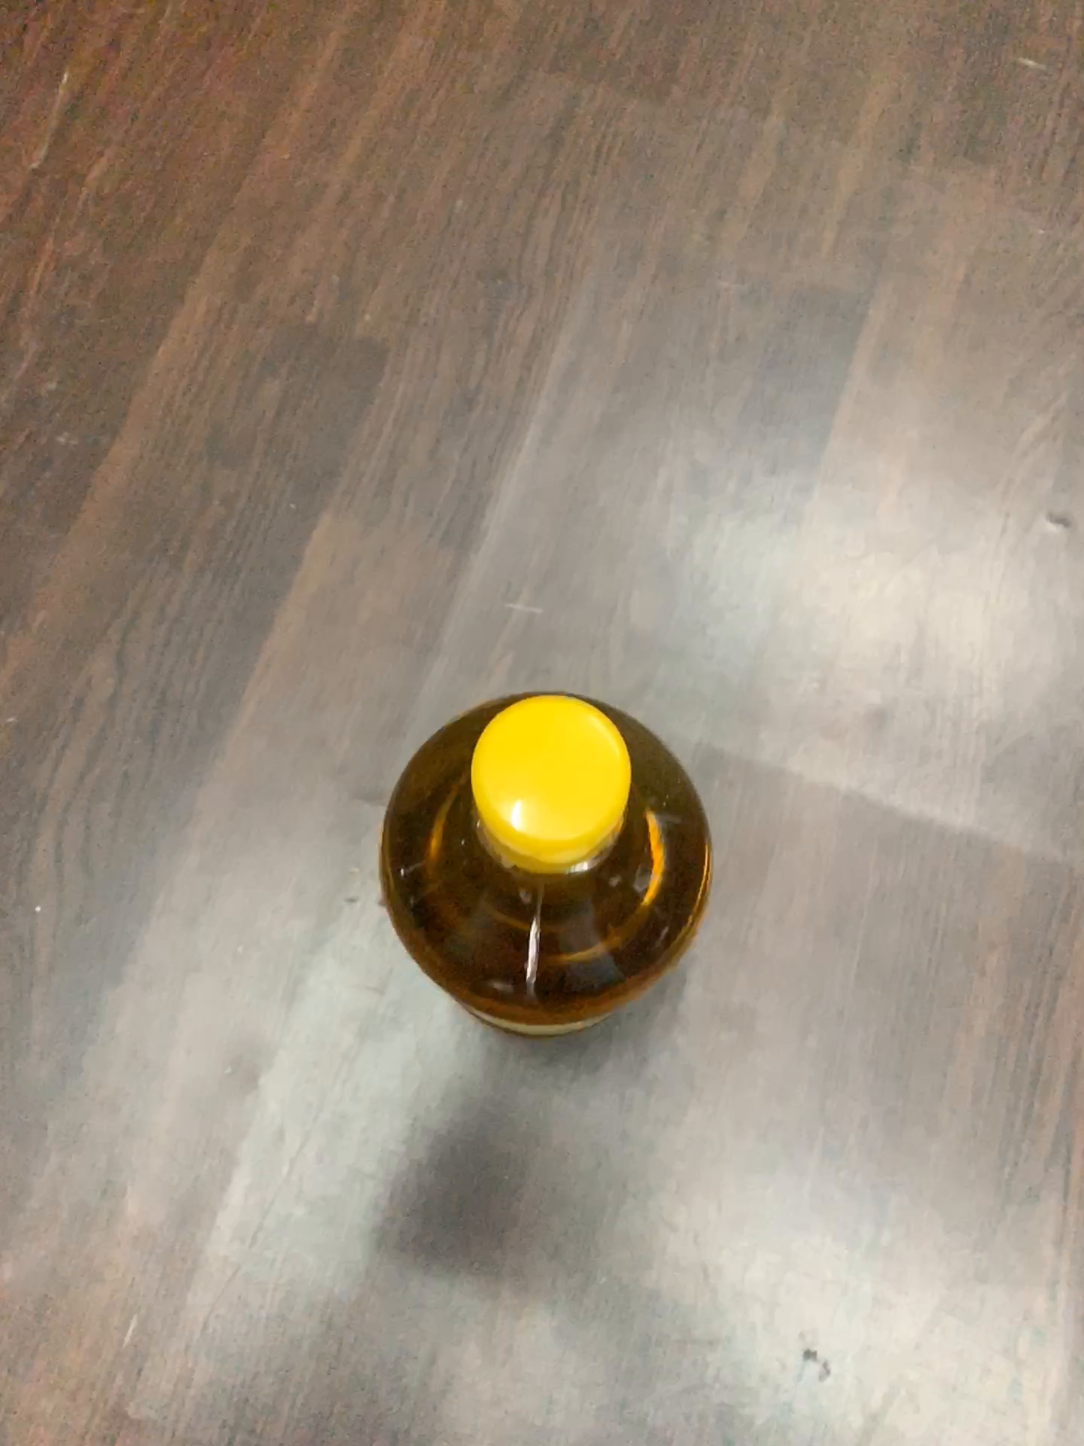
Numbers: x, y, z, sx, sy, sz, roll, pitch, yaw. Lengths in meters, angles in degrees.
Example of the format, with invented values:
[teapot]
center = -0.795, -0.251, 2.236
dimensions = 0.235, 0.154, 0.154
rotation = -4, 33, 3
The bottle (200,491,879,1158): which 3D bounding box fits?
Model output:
[bottle]
center = -0.001, 0.046, 0.314
dimensions = 0.090, 0.220, 0.090
rotation = 0, 73, 0
